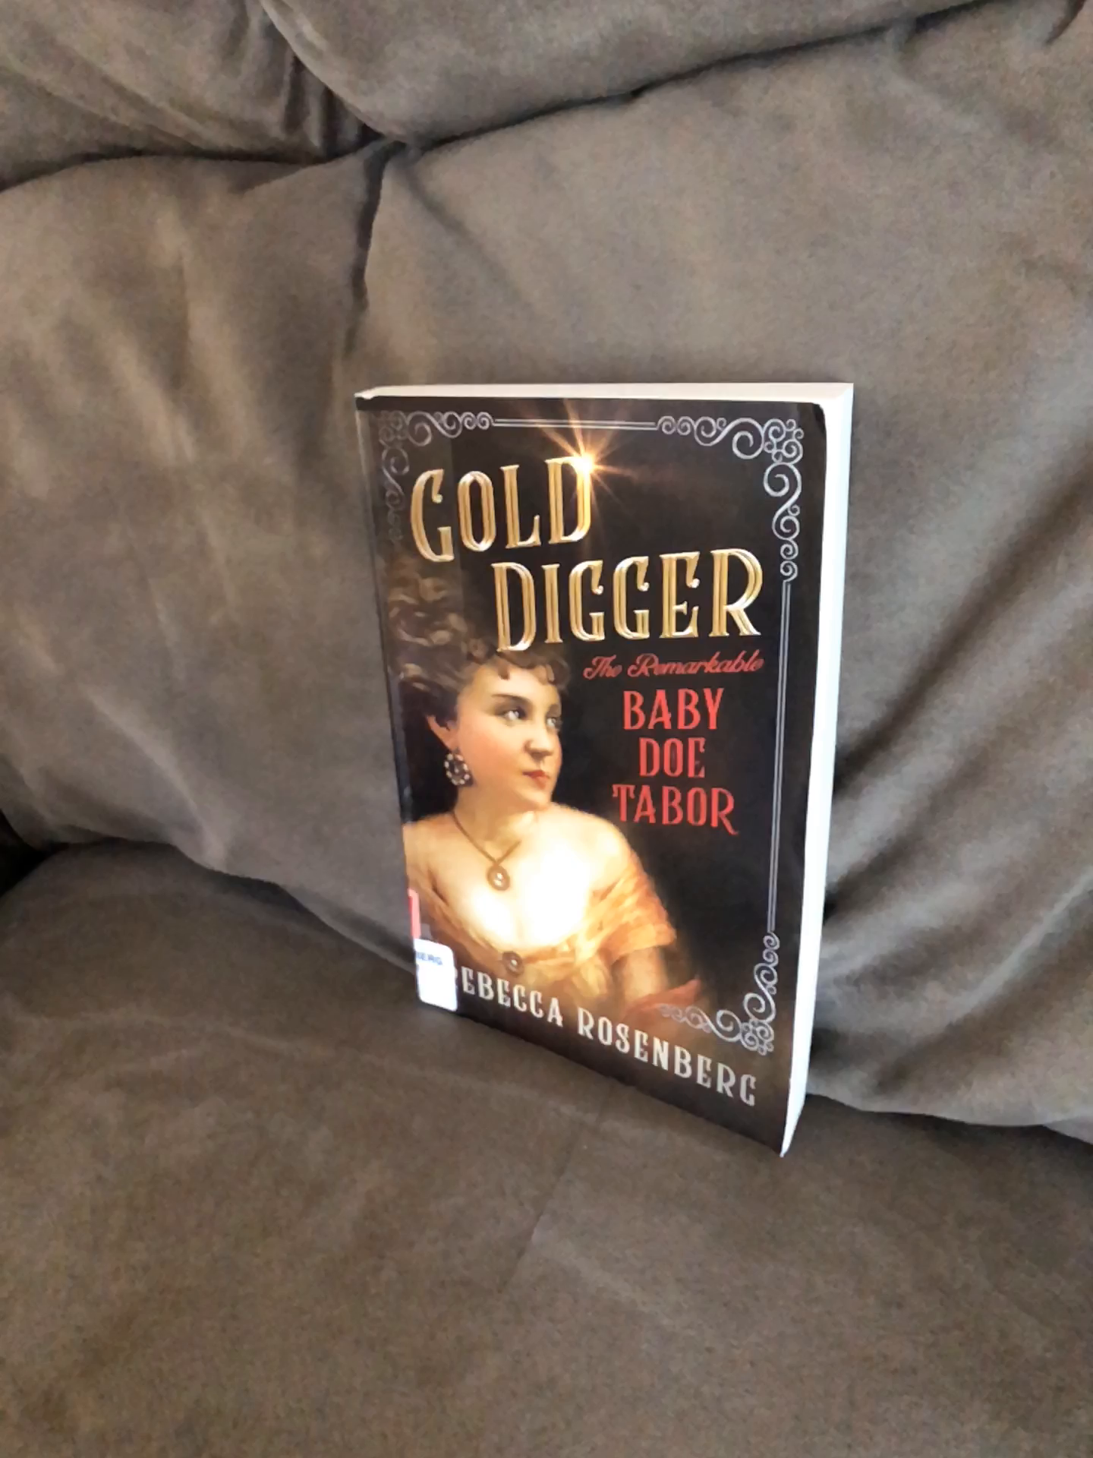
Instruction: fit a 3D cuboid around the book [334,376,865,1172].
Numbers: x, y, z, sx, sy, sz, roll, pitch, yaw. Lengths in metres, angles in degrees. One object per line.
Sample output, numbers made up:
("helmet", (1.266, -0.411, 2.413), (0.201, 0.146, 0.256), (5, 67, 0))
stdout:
("book", (0.007, 0.004, 0.348), (0.151, 0.200, 0.030), (13, 22, 37))
